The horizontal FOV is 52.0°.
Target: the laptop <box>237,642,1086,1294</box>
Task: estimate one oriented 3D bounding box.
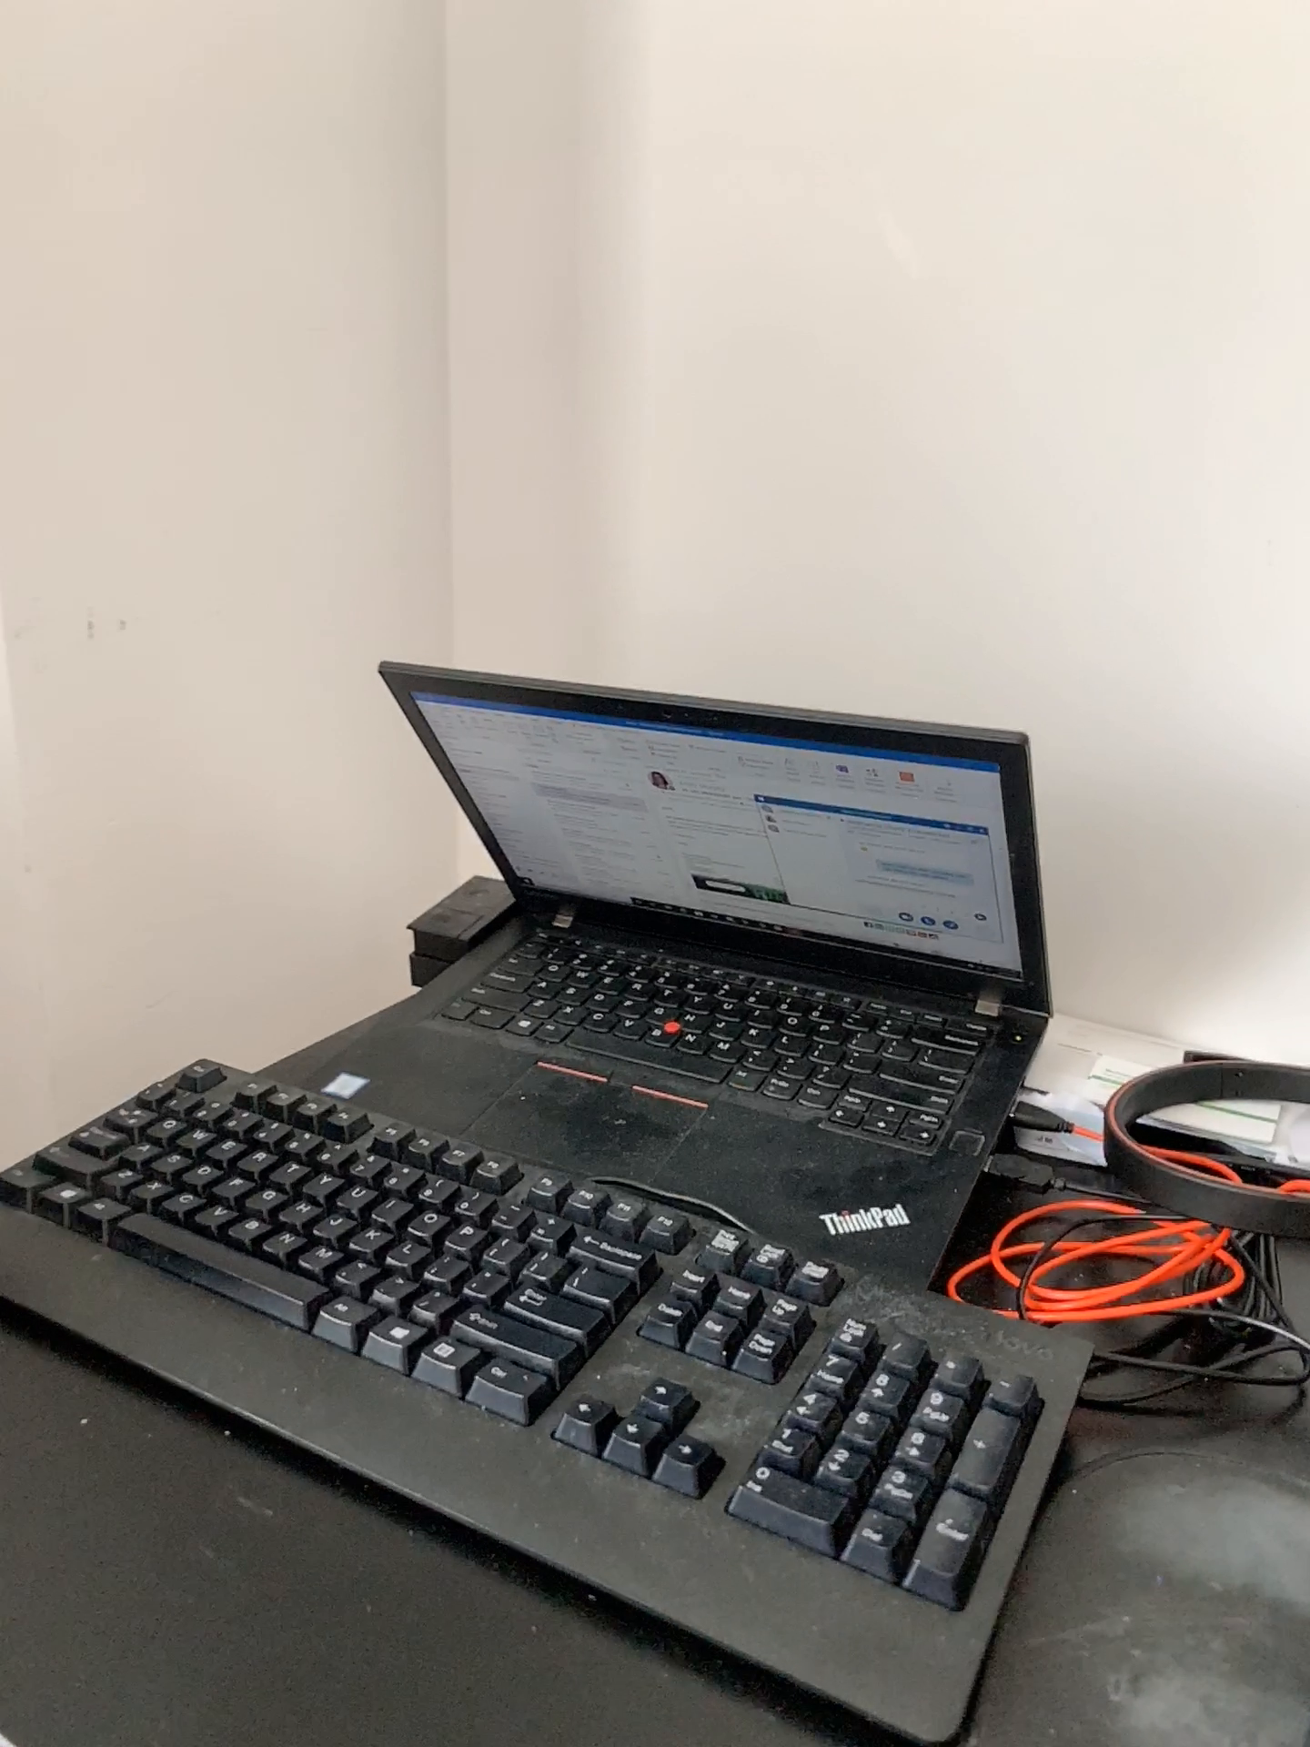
[{"bbox_3d":[0.009,0.013,0.669,0.334,0.172,0.237,9,24,25],"label":"laptop"}]
